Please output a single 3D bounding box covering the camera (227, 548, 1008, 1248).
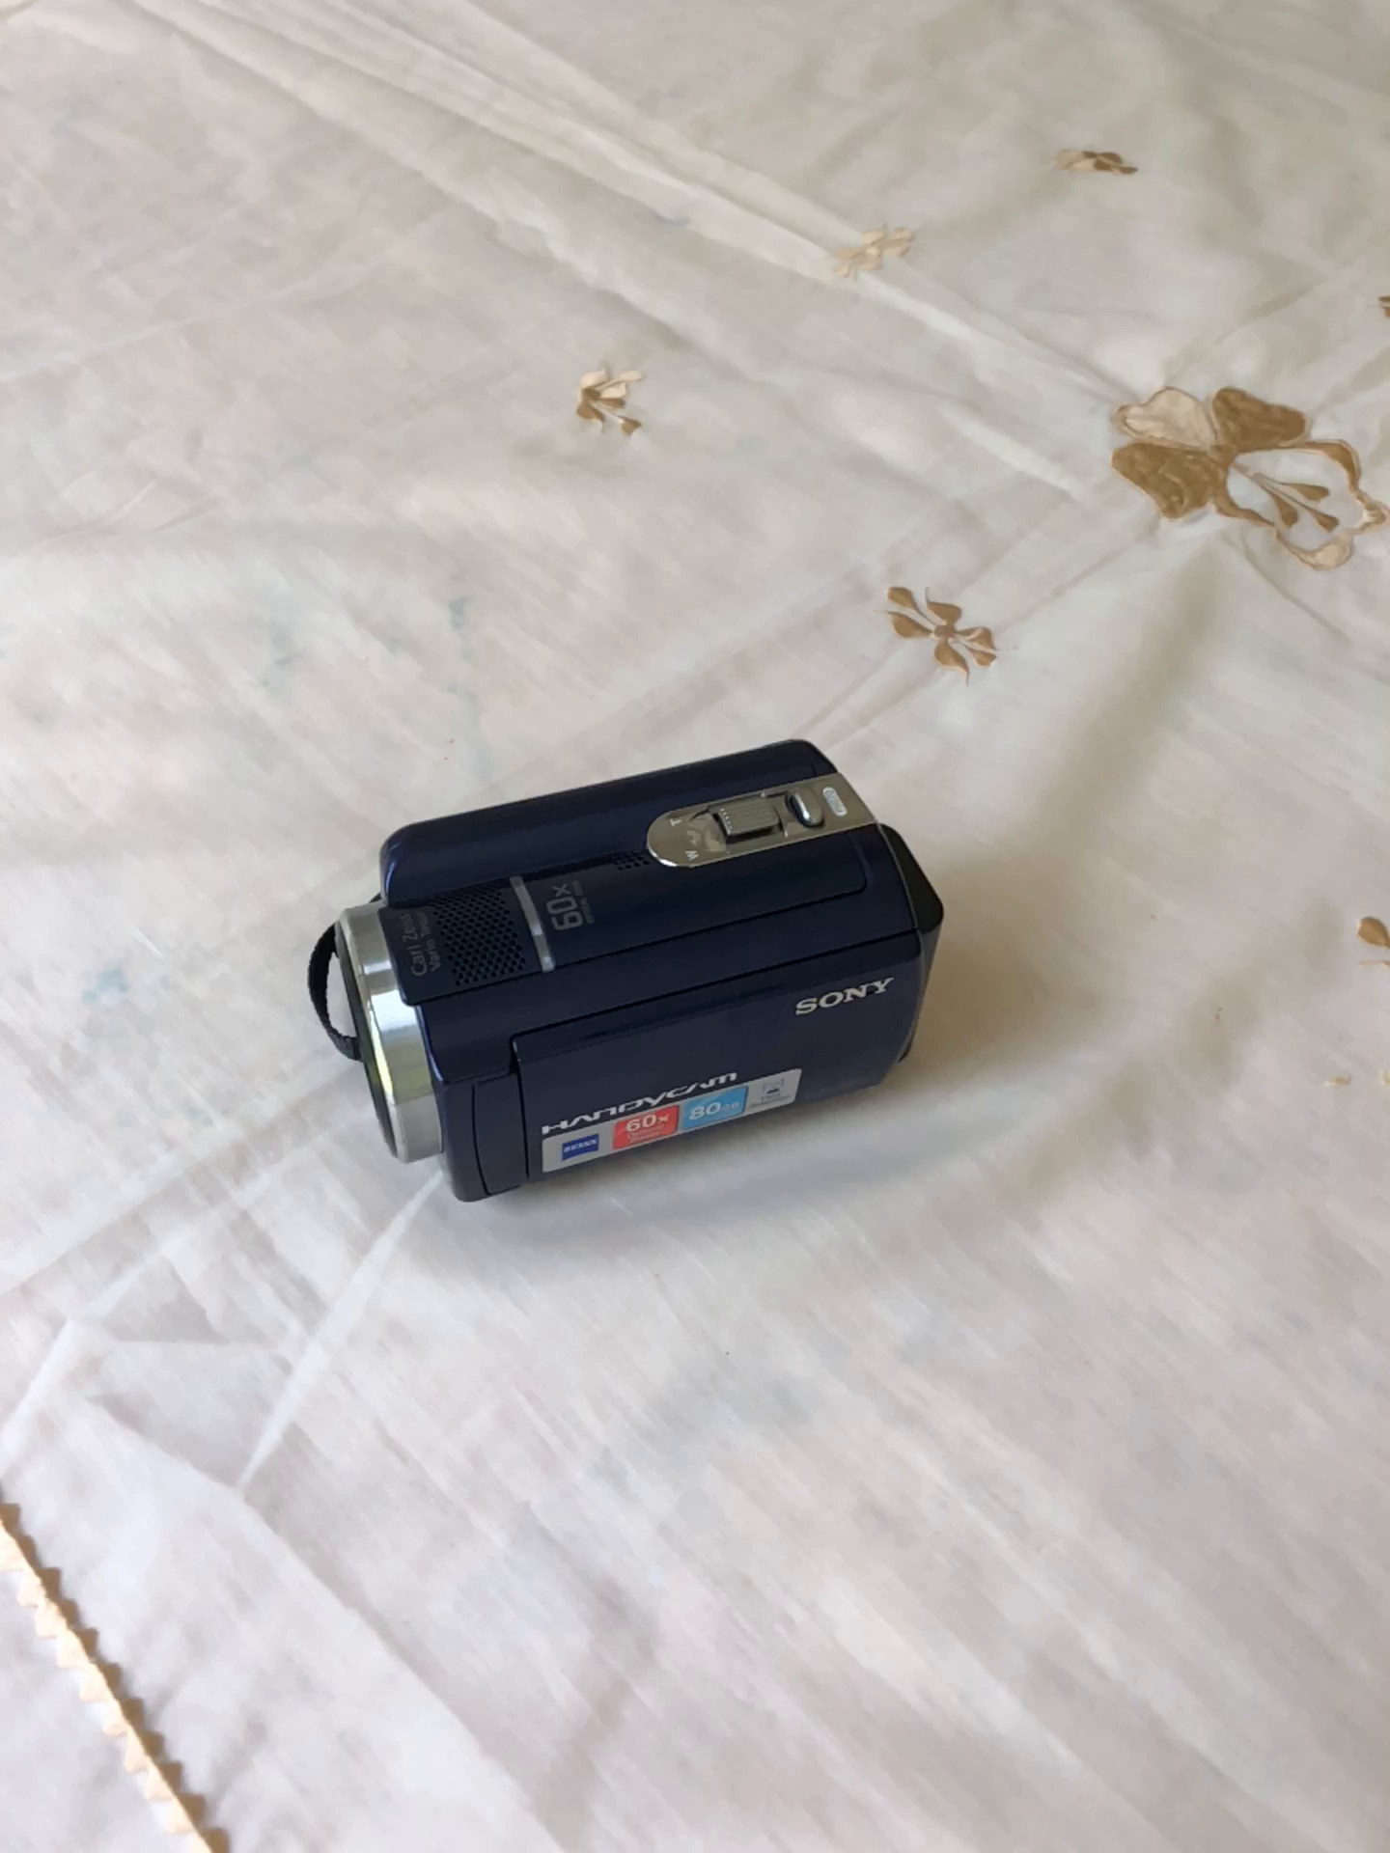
[{"bbox_3d":[-0.018,-0.009,0.304,0.119,0.070,0.090,-14,52,-14],"label":"camera"}]
